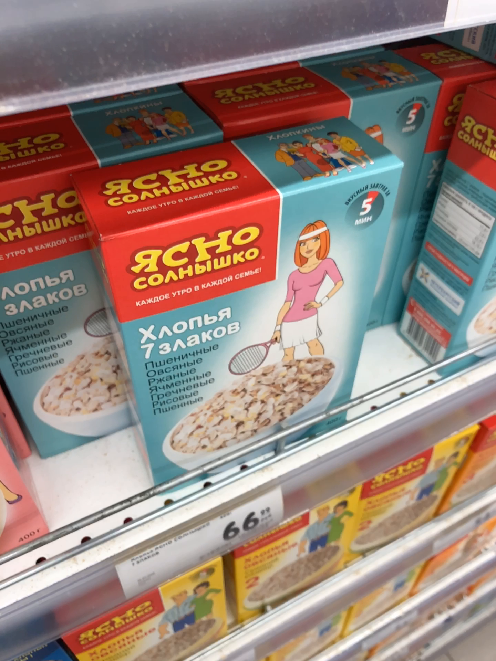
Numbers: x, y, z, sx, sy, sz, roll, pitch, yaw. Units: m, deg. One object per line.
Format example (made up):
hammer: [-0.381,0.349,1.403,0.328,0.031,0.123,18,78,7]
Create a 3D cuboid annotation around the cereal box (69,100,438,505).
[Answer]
cereal box: [0.004,-0.004,0.289,0.140,0.189,0.050,-19,48,-18]
